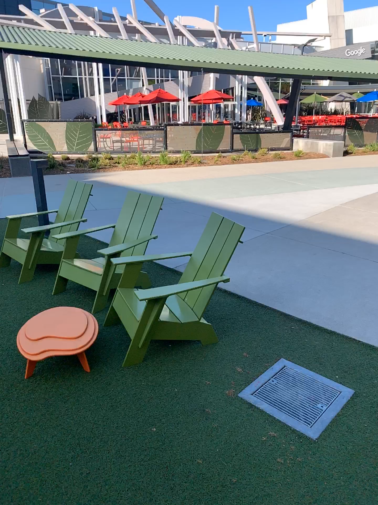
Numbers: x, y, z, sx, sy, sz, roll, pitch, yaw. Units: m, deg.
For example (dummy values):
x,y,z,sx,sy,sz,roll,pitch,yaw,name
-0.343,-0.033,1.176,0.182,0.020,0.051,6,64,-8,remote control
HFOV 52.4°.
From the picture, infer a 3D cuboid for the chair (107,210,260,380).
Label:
x,y,z,sx,sy,sz,roll,pitch,yaw,name
-0.071,0.236,2.747,0.850,0.856,0.713,-7,21,-18,chair
